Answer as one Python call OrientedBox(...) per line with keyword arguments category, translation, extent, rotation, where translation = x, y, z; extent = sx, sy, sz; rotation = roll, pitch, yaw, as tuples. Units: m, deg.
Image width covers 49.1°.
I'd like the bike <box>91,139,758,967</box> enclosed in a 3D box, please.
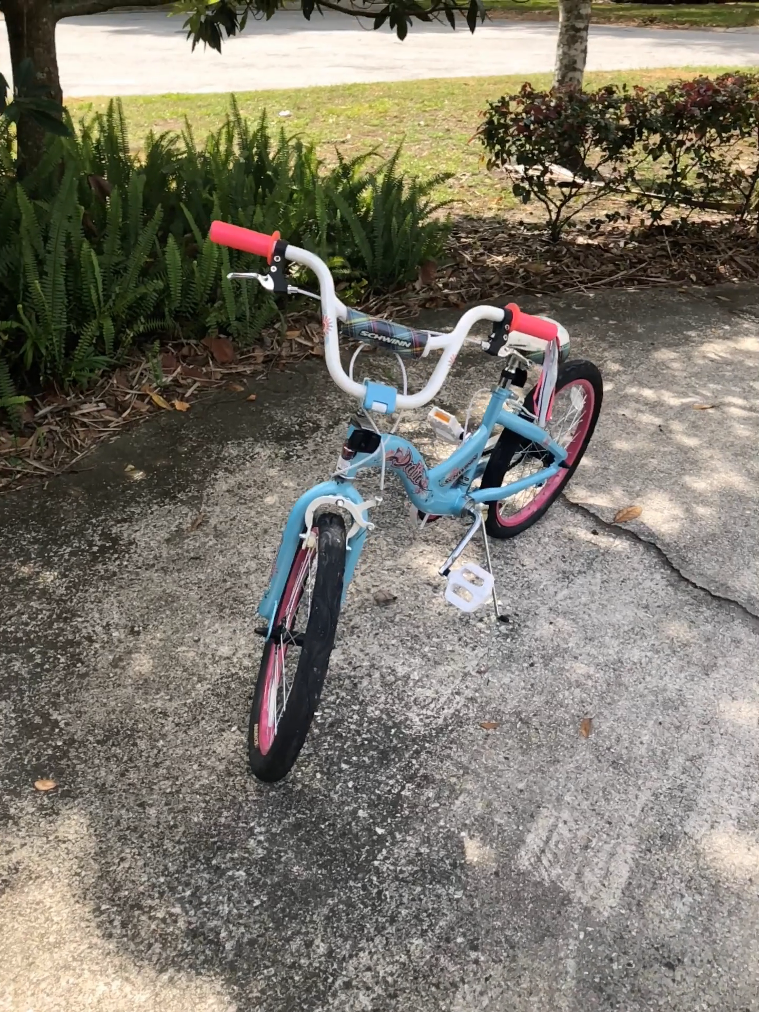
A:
OrientedBox(category="bike", translation=(0.243, -0.118, 1.640), extent=(0.700, 0.923, 1.314), rotation=(19, 36, 28))
